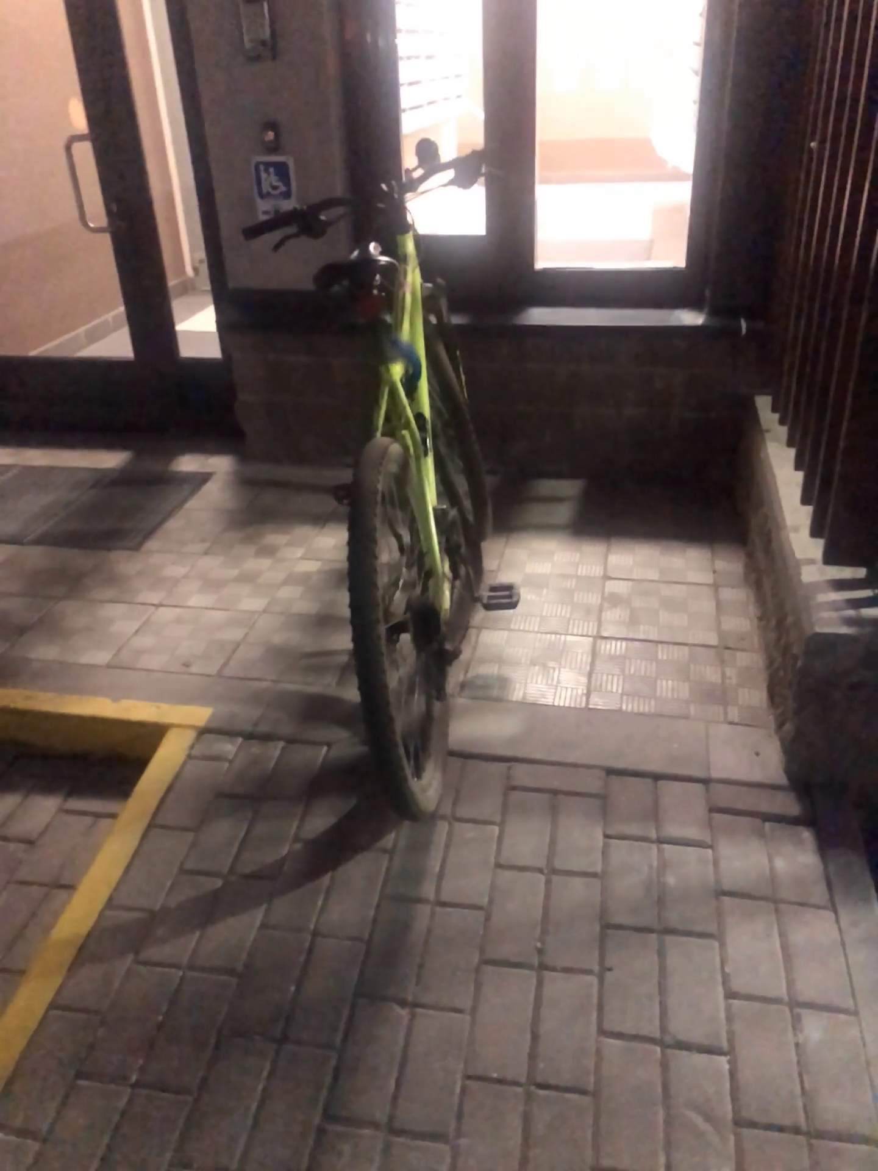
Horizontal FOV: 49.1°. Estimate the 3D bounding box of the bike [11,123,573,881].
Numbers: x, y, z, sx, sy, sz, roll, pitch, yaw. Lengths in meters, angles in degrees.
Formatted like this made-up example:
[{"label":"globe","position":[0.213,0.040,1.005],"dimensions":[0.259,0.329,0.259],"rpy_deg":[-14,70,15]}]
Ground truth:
[{"label":"bike","position":[-0.166,-0.394,2.240],"dimensions":[0.719,1.095,1.769],"rpy_deg":[-2,29,2]}]
